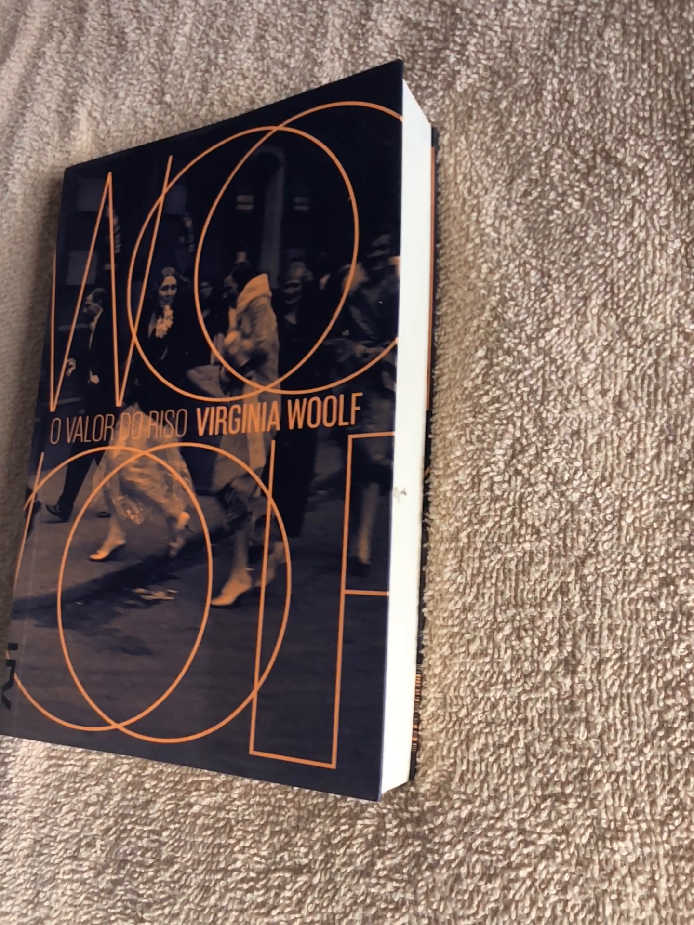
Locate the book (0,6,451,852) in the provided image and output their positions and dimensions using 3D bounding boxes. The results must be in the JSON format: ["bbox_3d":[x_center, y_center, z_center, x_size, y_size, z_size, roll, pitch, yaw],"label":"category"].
[{"bbox_3d":[-0.046,-0.009,0.224,0.140,0.050,0.190,-2,82,24],"label":"book"}]
